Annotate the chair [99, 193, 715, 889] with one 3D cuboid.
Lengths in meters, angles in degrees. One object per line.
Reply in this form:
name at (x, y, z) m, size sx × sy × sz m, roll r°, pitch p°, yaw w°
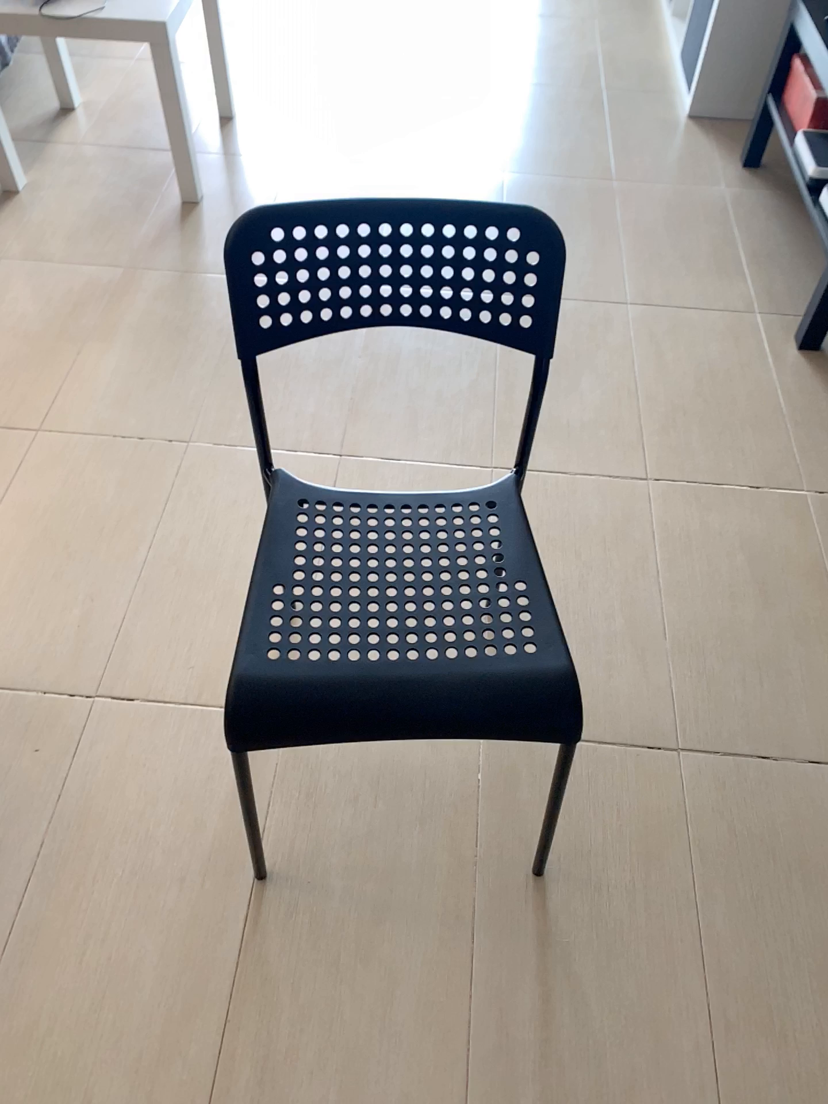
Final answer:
chair at (-0.018, 0.034, 0.997) m, size 0.420 × 0.687 × 0.492 m, roll 0°, pitch 52°, yaw -2°
